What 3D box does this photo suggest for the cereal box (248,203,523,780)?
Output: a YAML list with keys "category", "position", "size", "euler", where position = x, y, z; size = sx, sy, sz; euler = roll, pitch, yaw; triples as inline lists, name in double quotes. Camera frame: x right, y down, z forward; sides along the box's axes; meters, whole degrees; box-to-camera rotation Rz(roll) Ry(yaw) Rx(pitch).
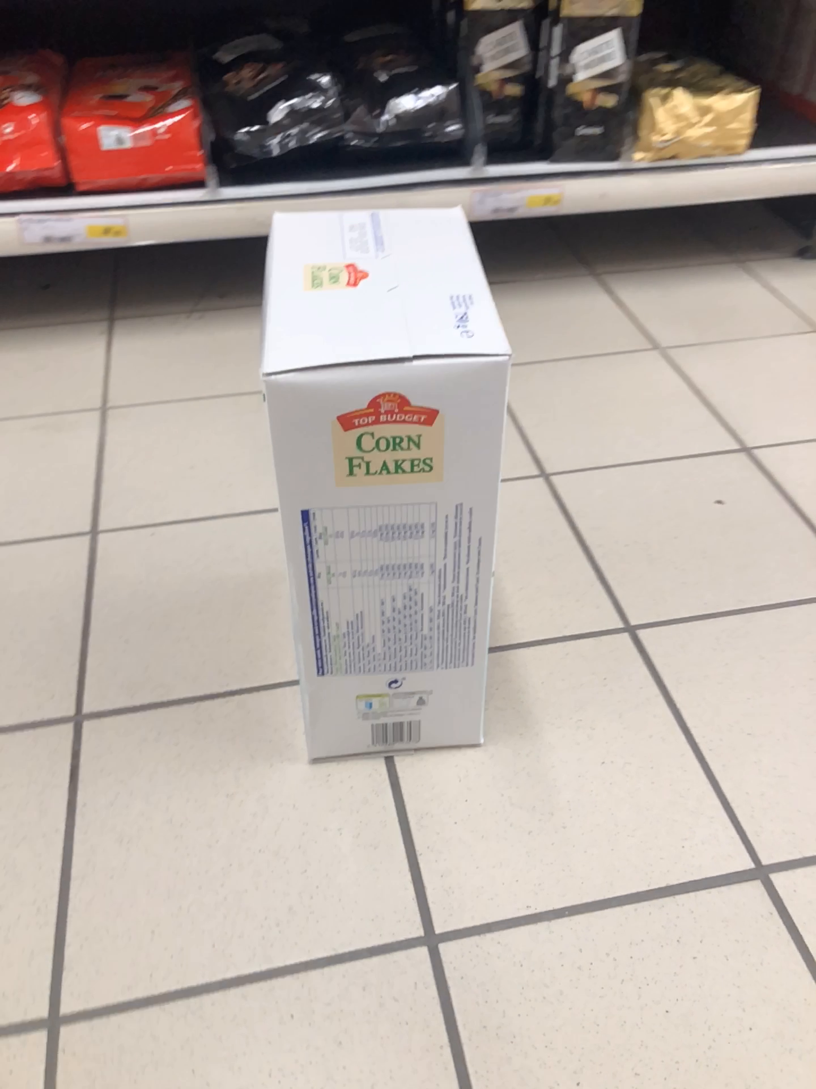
- category: "cereal box"
  position: [-0.018, -0.030, 0.559]
  size: [0.120, 0.288, 0.201]
  euler: [-3, 39, -4]
